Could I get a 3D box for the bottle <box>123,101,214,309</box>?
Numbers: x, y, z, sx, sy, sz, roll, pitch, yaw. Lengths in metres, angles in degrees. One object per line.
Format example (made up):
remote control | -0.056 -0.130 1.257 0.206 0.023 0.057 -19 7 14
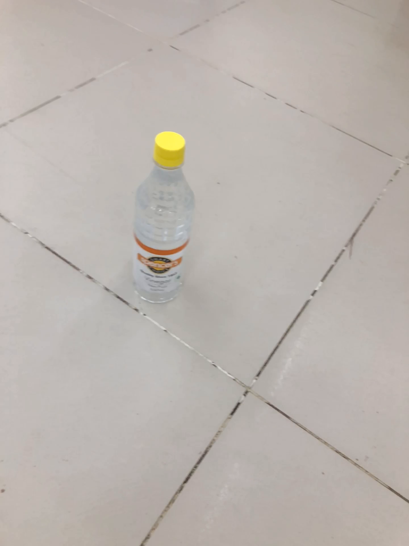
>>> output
bottle | -0.049 -0.060 0.513 0.080 0.238 0.080 5 52 -6
